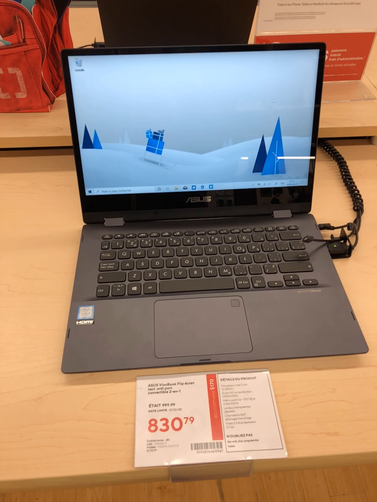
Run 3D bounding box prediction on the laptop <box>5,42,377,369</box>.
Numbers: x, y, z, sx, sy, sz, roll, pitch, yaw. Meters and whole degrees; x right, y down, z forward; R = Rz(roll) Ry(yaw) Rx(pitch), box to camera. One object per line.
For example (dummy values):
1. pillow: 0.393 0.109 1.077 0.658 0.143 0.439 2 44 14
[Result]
1. laptop: 0.019 -0.067 0.463 0.312 0.188 0.314 -3 48 -3
